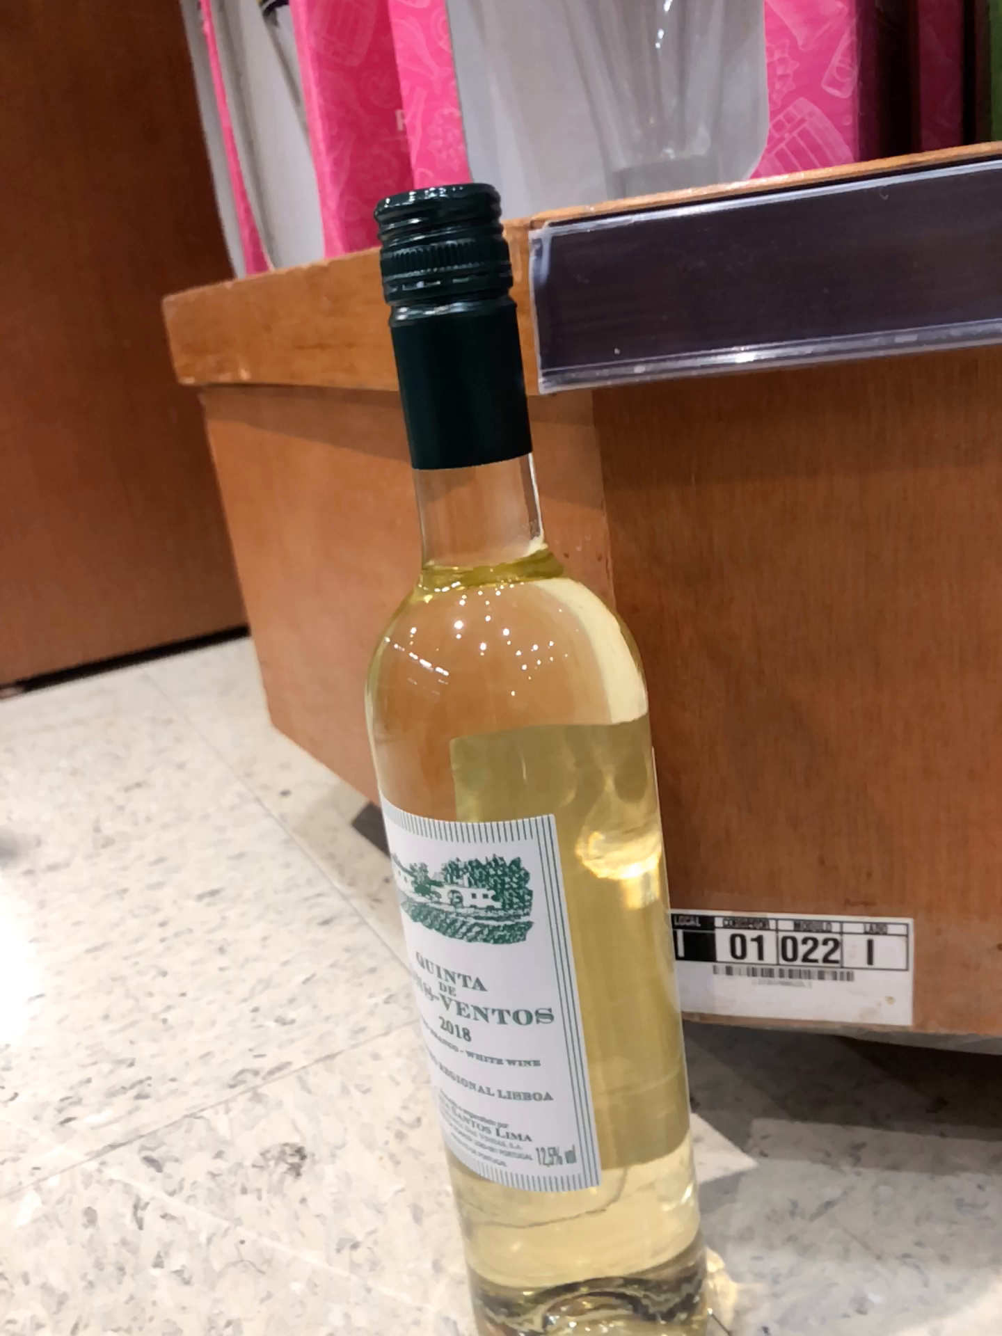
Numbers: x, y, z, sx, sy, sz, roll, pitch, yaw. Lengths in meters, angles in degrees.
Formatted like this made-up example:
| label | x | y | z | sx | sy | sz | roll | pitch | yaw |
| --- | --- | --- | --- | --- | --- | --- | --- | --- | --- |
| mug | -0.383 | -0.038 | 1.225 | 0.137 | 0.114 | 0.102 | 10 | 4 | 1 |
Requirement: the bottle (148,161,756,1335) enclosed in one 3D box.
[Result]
| label | x | y | z | sx | sy | sz | roll | pitch | yaw |
| --- | --- | --- | --- | --- | --- | --- | --- | --- | --- |
| bottle | 0.000 | 0.042 | 0.290 | 0.080 | 0.308 | 0.080 | -8 | 17 | 2 |
